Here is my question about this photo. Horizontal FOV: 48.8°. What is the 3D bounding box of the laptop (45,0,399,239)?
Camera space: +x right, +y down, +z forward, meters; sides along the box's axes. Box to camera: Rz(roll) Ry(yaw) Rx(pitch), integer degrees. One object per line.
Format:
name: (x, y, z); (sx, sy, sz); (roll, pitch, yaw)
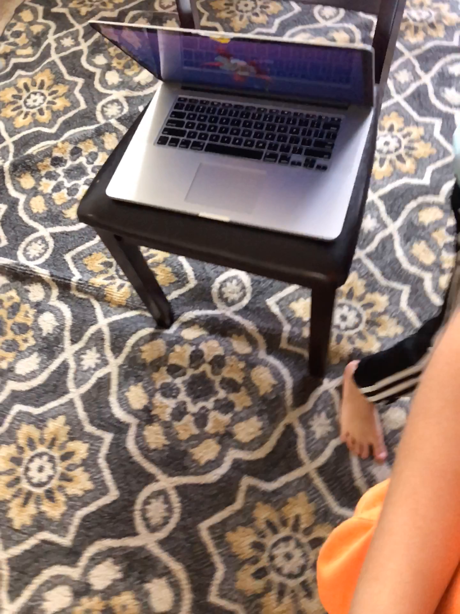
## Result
laptop: (0.003, -0.273, 0.671); (0.351, 0.200, 0.237); (13, 66, 14)
